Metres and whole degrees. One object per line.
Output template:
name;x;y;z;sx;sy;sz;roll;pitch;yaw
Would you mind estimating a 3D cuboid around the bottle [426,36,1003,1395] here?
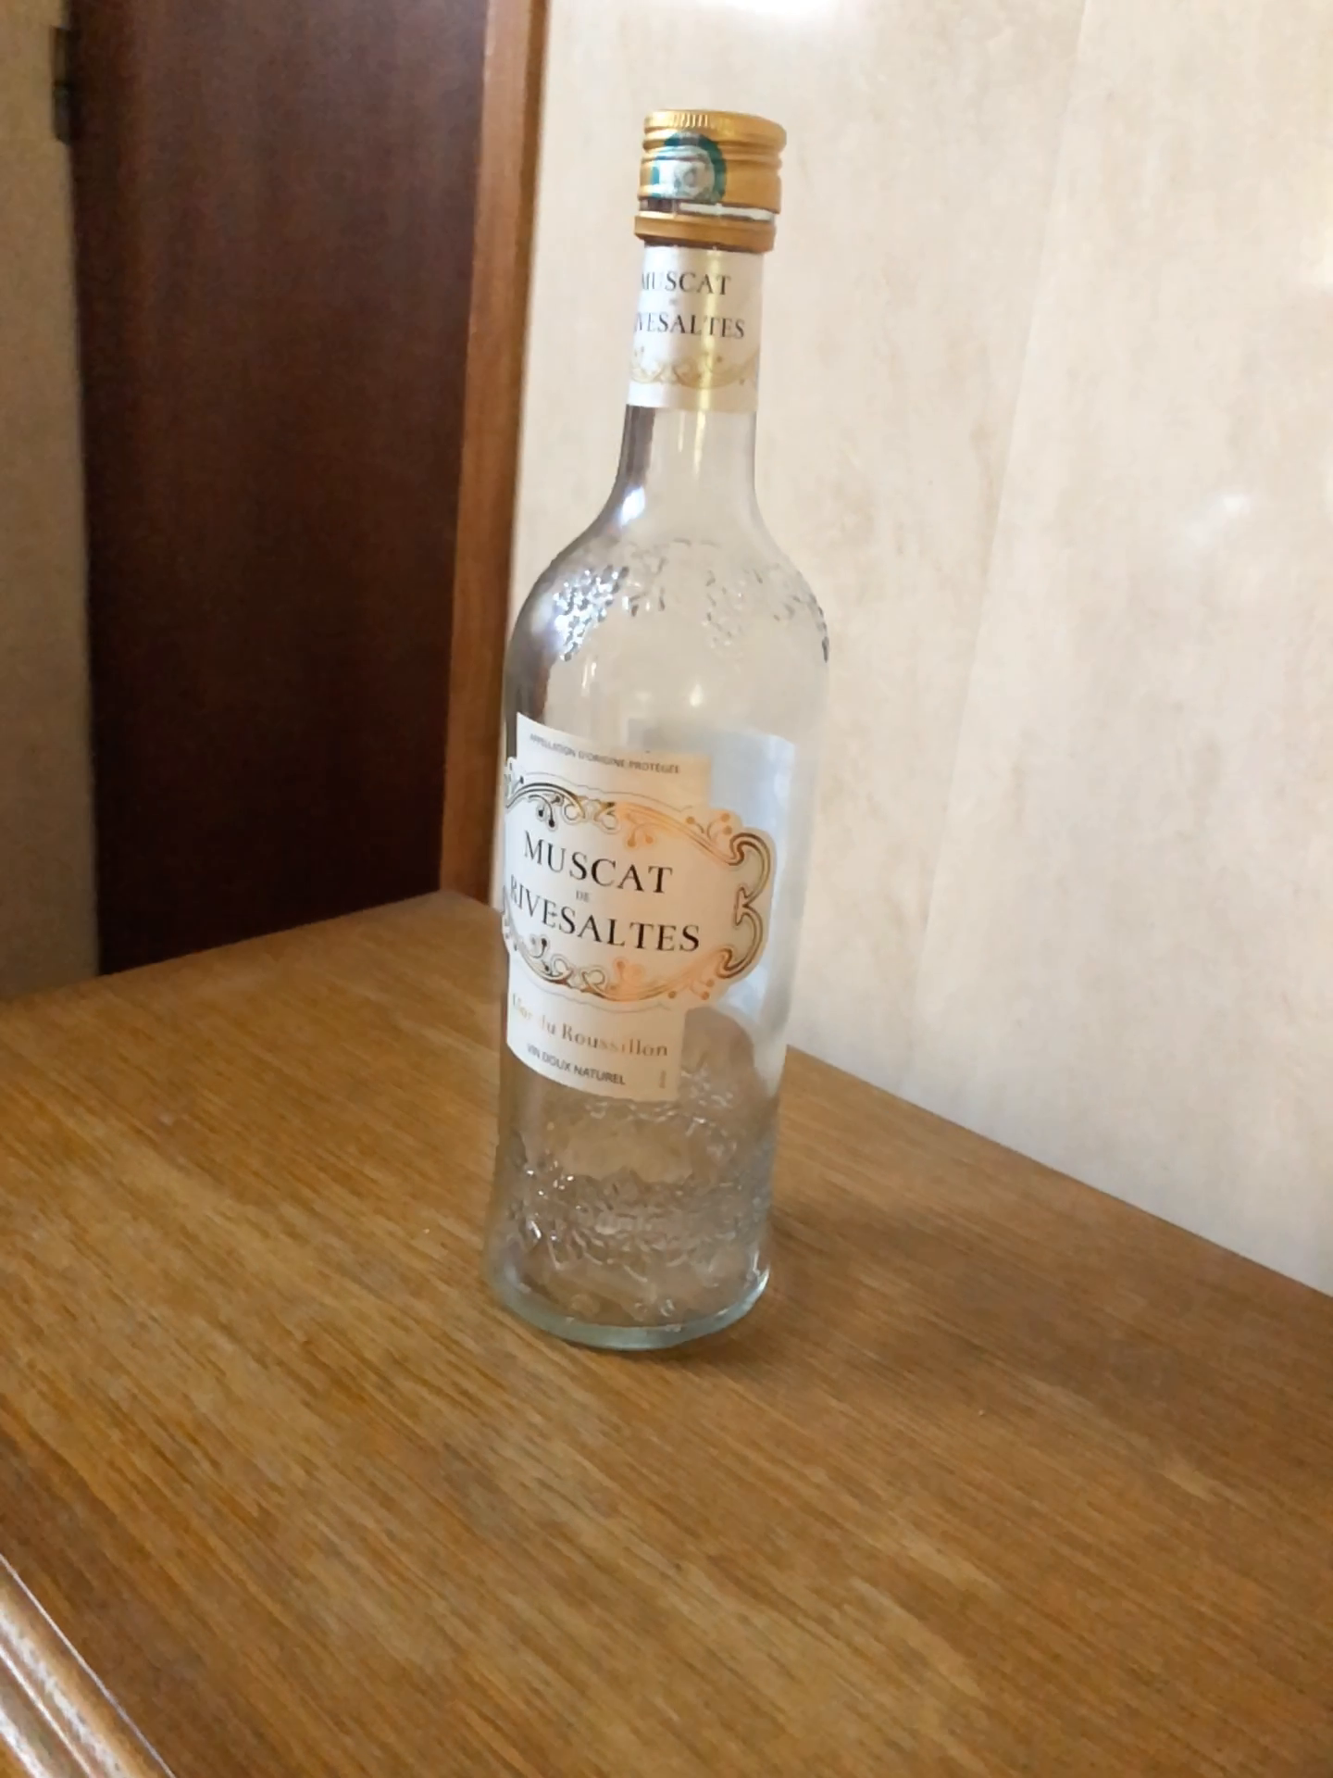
bottle;0.005;-0.034;0.359;0.080;0.289;0.080;5;19;-2
